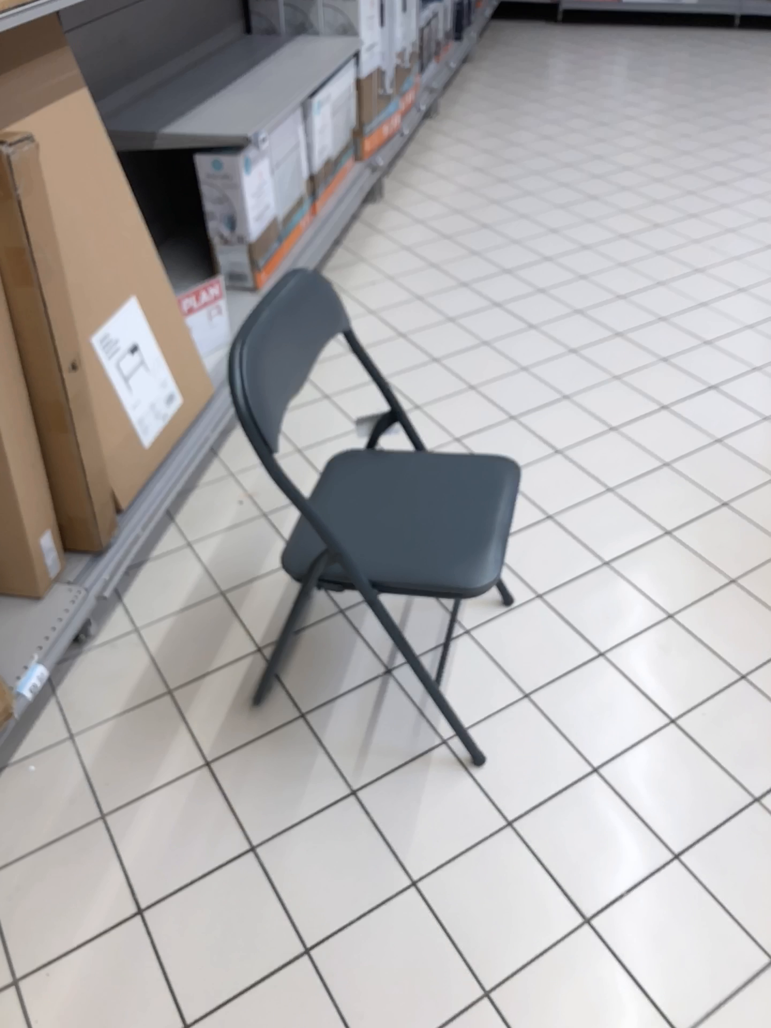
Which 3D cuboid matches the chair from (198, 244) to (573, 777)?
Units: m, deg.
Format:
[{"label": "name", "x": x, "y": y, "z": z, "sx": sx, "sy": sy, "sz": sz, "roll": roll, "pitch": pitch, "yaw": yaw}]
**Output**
[{"label": "chair", "x": 0.041, "y": -0.010, "z": 1.573, "sx": 0.500, "sy": 0.755, "sz": 0.554, "roll": 6, "pitch": 39, "yaw": 8}]
